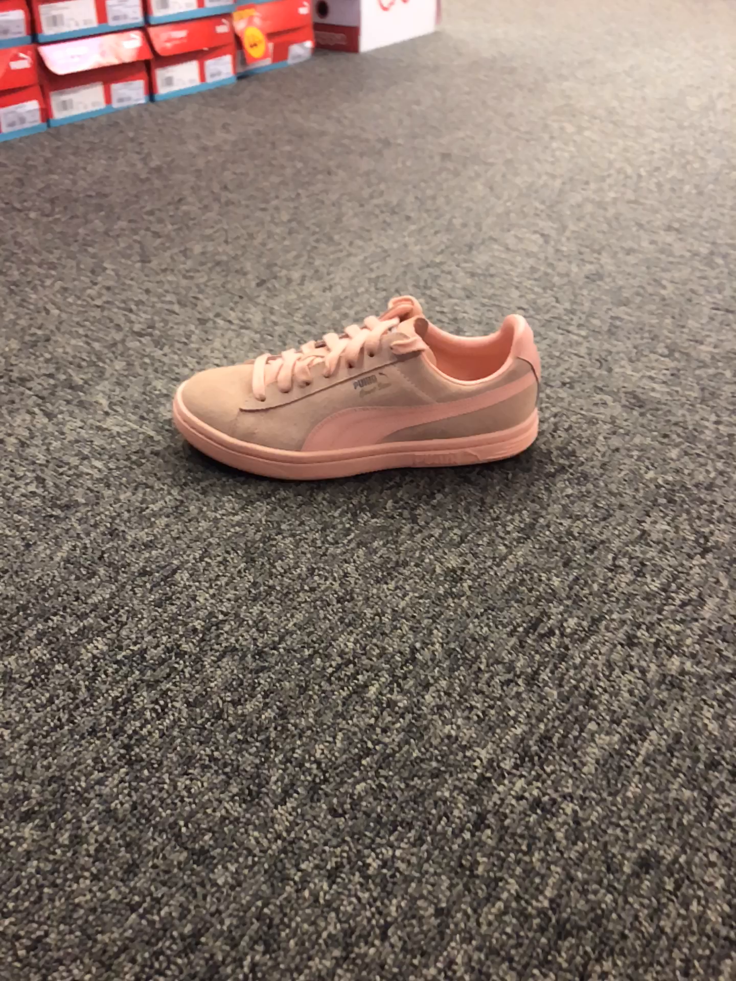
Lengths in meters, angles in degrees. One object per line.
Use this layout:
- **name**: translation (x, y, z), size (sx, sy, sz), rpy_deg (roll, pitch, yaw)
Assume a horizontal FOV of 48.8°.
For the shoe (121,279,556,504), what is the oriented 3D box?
- **shoe**: translation (-0.013, -0.064, 0.529), size (0.253, 0.089, 0.093), rpy_deg (-4, 37, 6)
